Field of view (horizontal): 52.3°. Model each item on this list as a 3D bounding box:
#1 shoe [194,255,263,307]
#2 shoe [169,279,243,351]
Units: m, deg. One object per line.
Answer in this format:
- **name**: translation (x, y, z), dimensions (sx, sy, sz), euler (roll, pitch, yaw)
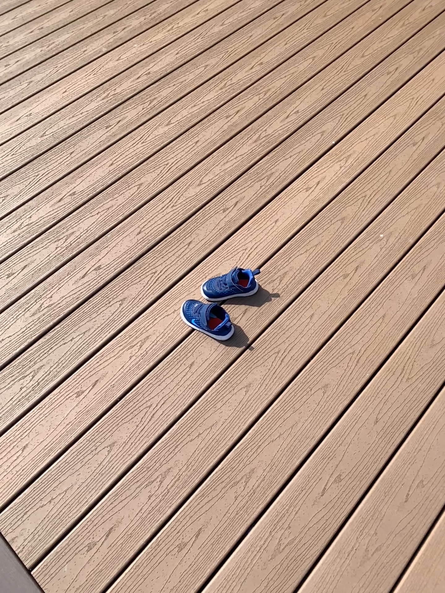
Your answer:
- **shoe**: translation (0.015, -0.041, 1.227), dimensions (0.170, 0.090, 0.080), euler (-8, 60, -2)
- **shoe**: translation (-0.040, 0.048, 1.168), dimensions (0.170, 0.090, 0.080), euler (31, 65, 19)
